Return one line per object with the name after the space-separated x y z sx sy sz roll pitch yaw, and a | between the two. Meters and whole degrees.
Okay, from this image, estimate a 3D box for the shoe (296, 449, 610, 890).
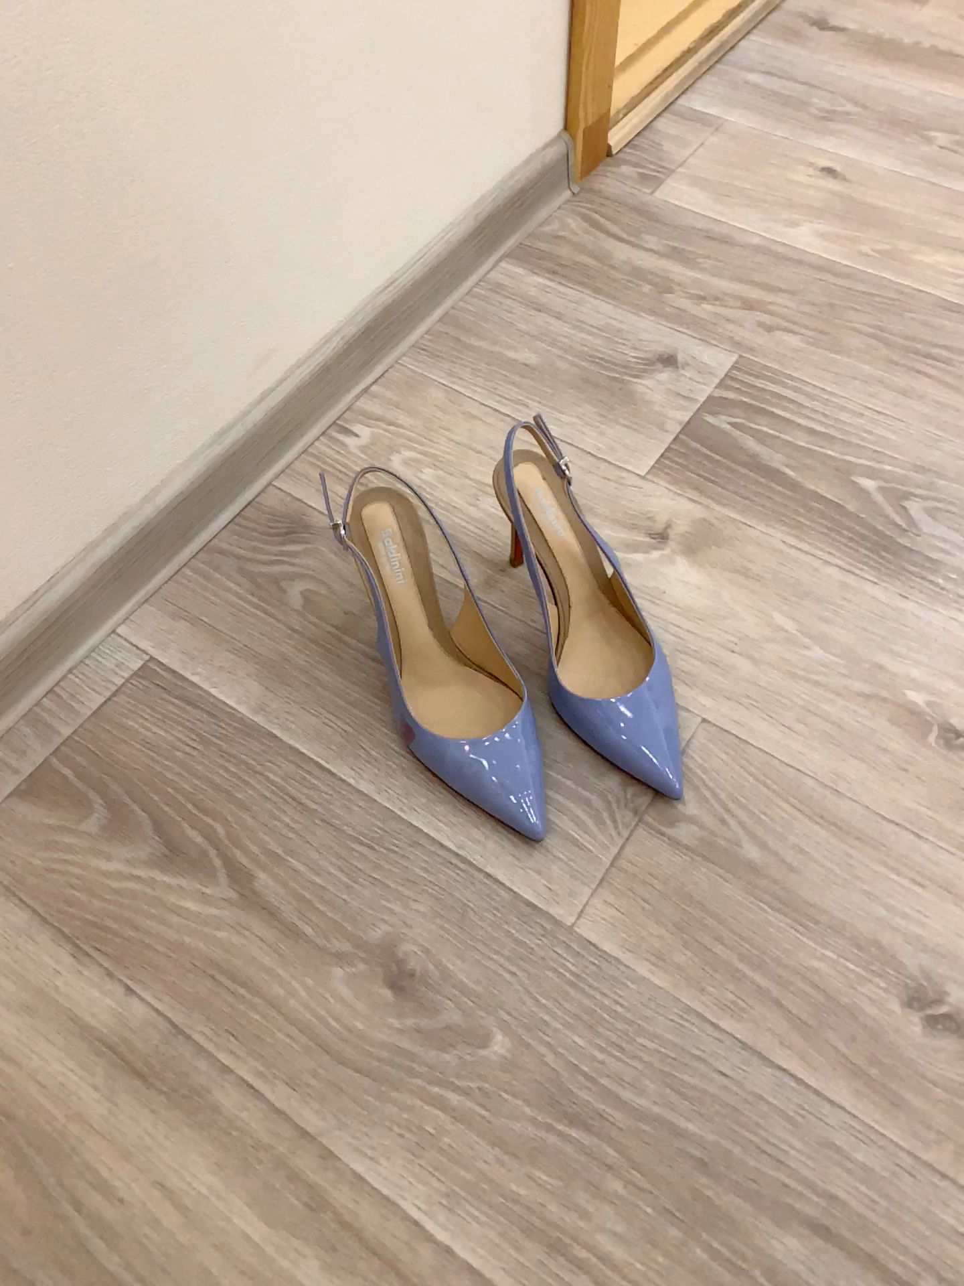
-0.023 0.009 0.585 0.089 0.100 0.231 -21 58 -13 | shoe

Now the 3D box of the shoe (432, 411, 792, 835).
0.066 -0.018 0.597 0.089 0.100 0.231 -25 59 -15 | shoe
